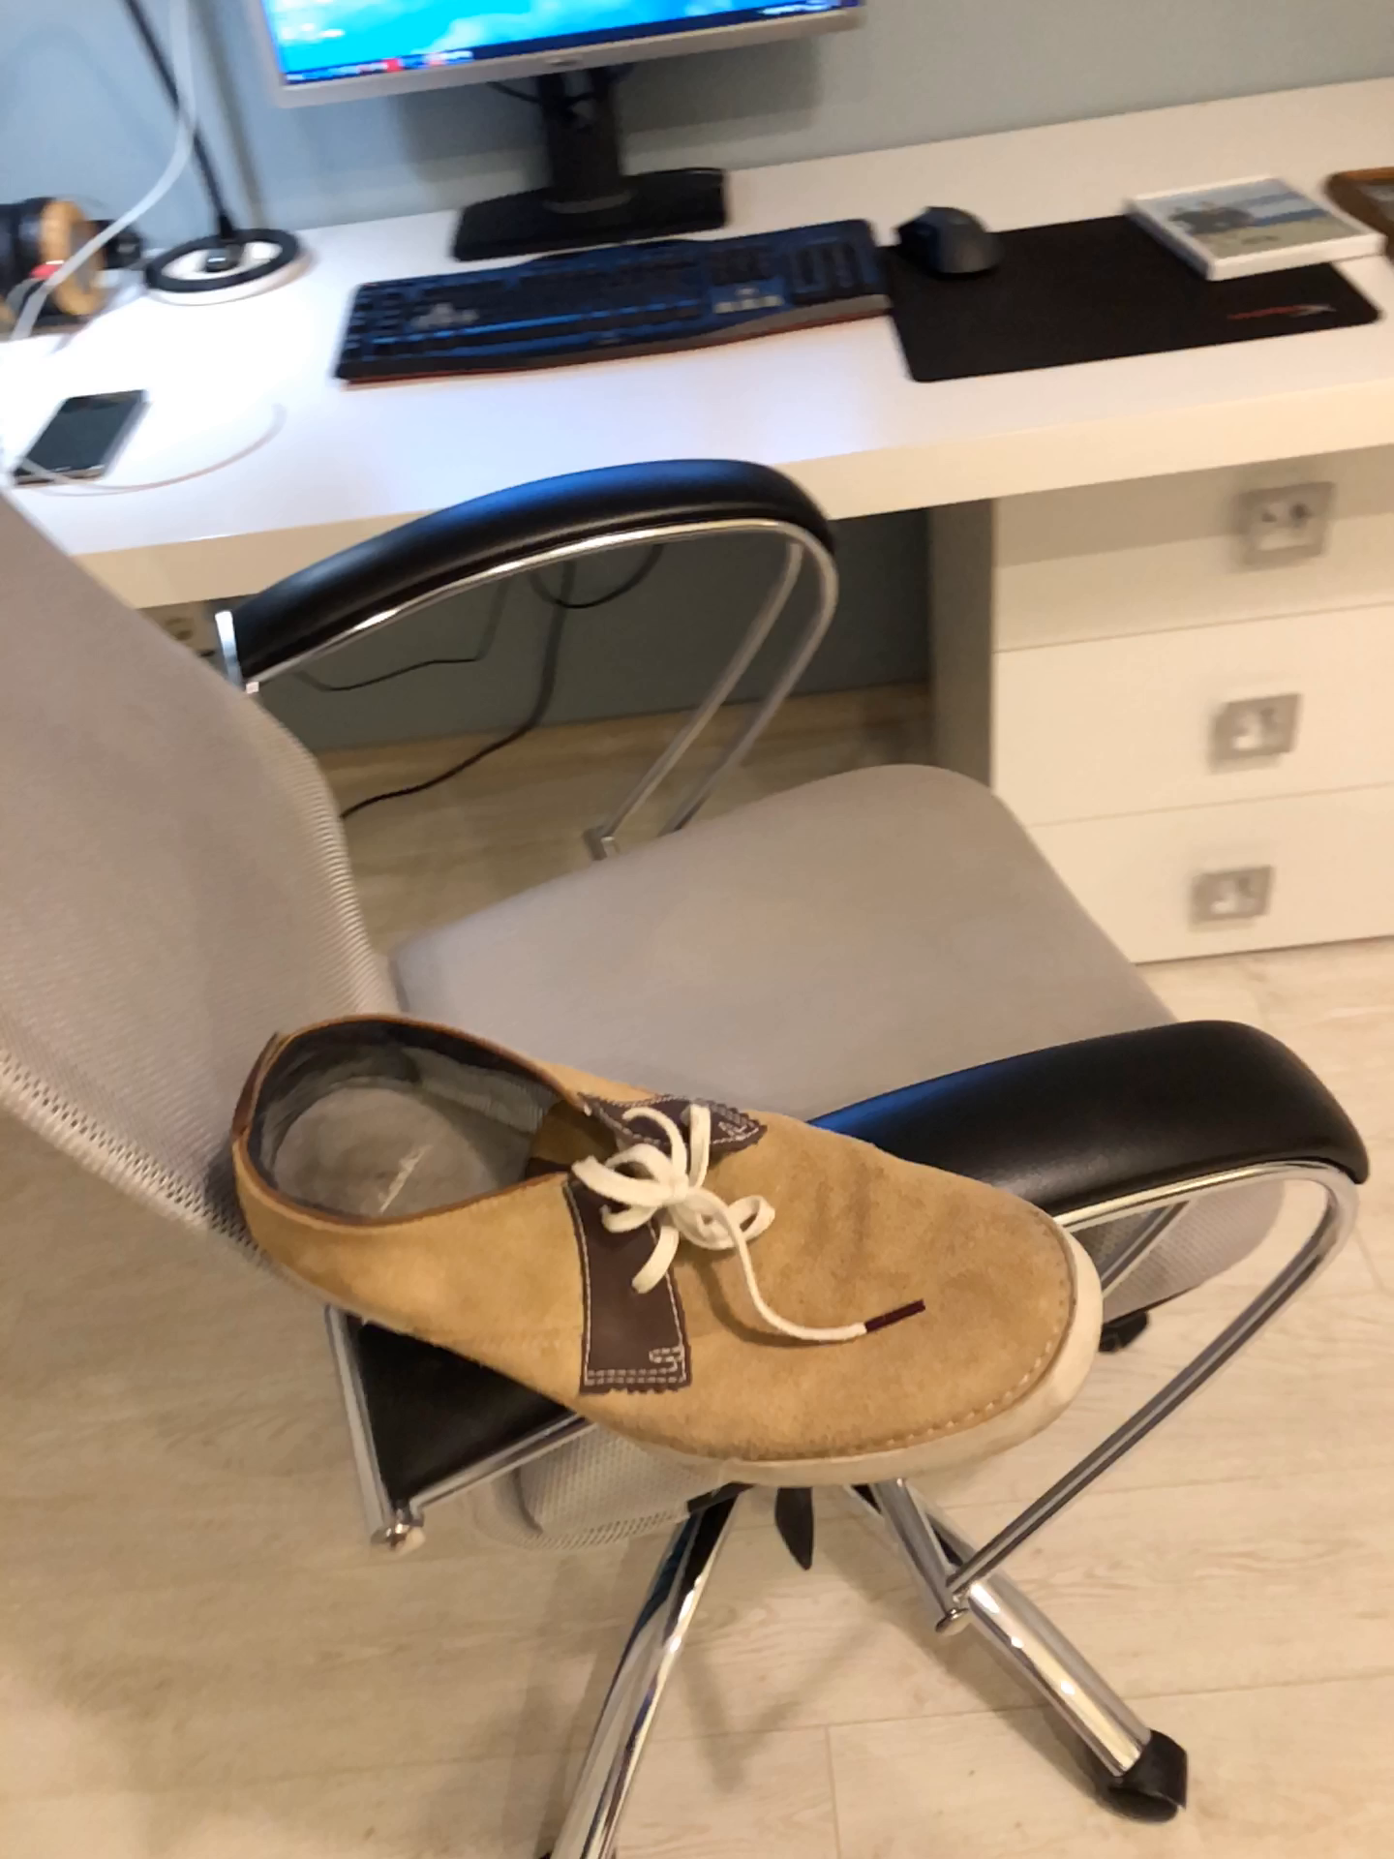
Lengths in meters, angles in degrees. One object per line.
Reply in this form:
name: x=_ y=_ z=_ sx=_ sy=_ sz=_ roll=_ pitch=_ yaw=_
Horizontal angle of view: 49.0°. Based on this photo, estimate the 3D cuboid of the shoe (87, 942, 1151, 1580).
shoe: x=-0.022 y=0.095 z=0.498 sx=0.310 sy=0.079 sz=0.121 roll=8 pitch=45 yaw=18
